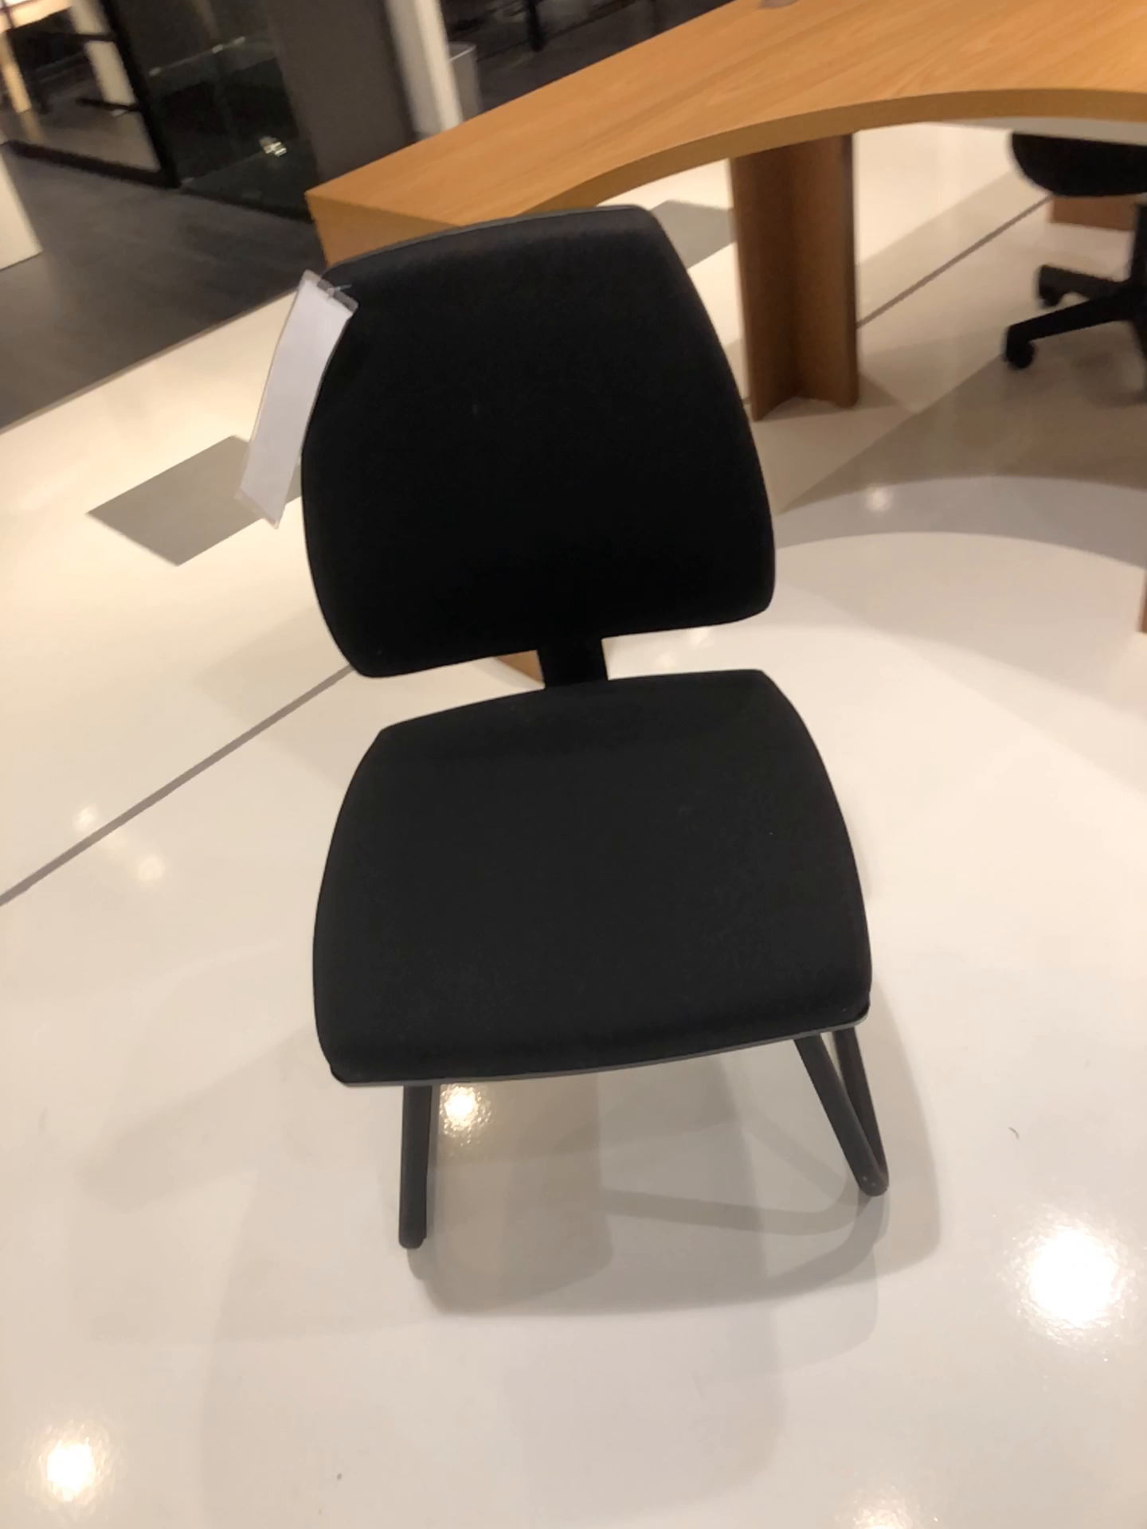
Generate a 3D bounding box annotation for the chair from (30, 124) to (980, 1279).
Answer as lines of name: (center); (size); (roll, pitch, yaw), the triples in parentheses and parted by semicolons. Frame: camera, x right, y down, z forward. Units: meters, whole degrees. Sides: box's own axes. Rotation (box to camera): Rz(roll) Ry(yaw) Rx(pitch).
chair: (0.012, -0.018, 1.212); (0.550, 0.873, 0.564); (-9, 41, 4)
